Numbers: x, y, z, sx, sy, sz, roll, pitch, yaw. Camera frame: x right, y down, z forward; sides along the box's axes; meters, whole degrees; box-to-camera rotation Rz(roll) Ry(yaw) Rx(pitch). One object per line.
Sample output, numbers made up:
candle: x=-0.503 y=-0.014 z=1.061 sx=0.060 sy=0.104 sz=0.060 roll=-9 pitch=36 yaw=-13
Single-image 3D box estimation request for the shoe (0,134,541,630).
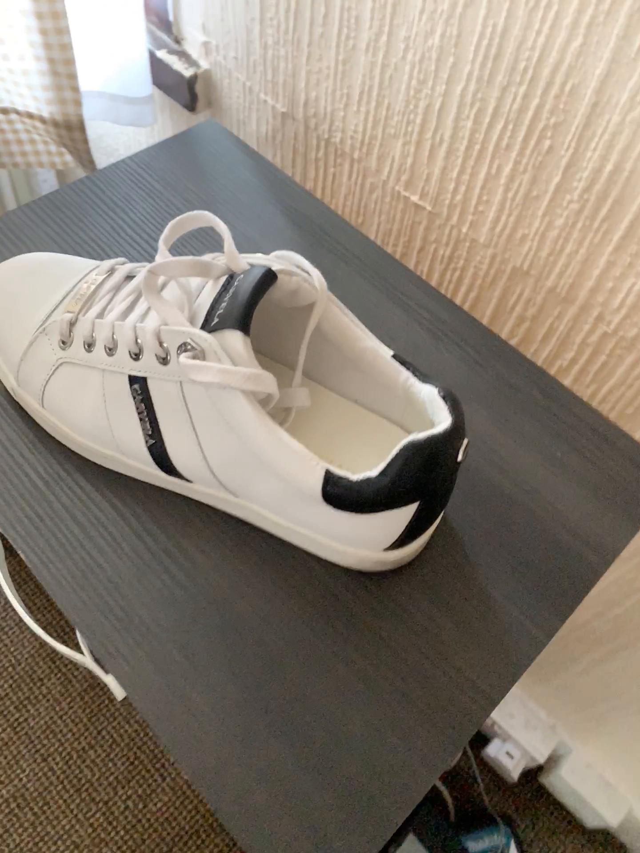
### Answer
shoe: x=-0.052 y=-0.025 z=0.303 sx=0.260 sy=0.087 sz=0.104 roll=24 pitch=59 yaw=10
